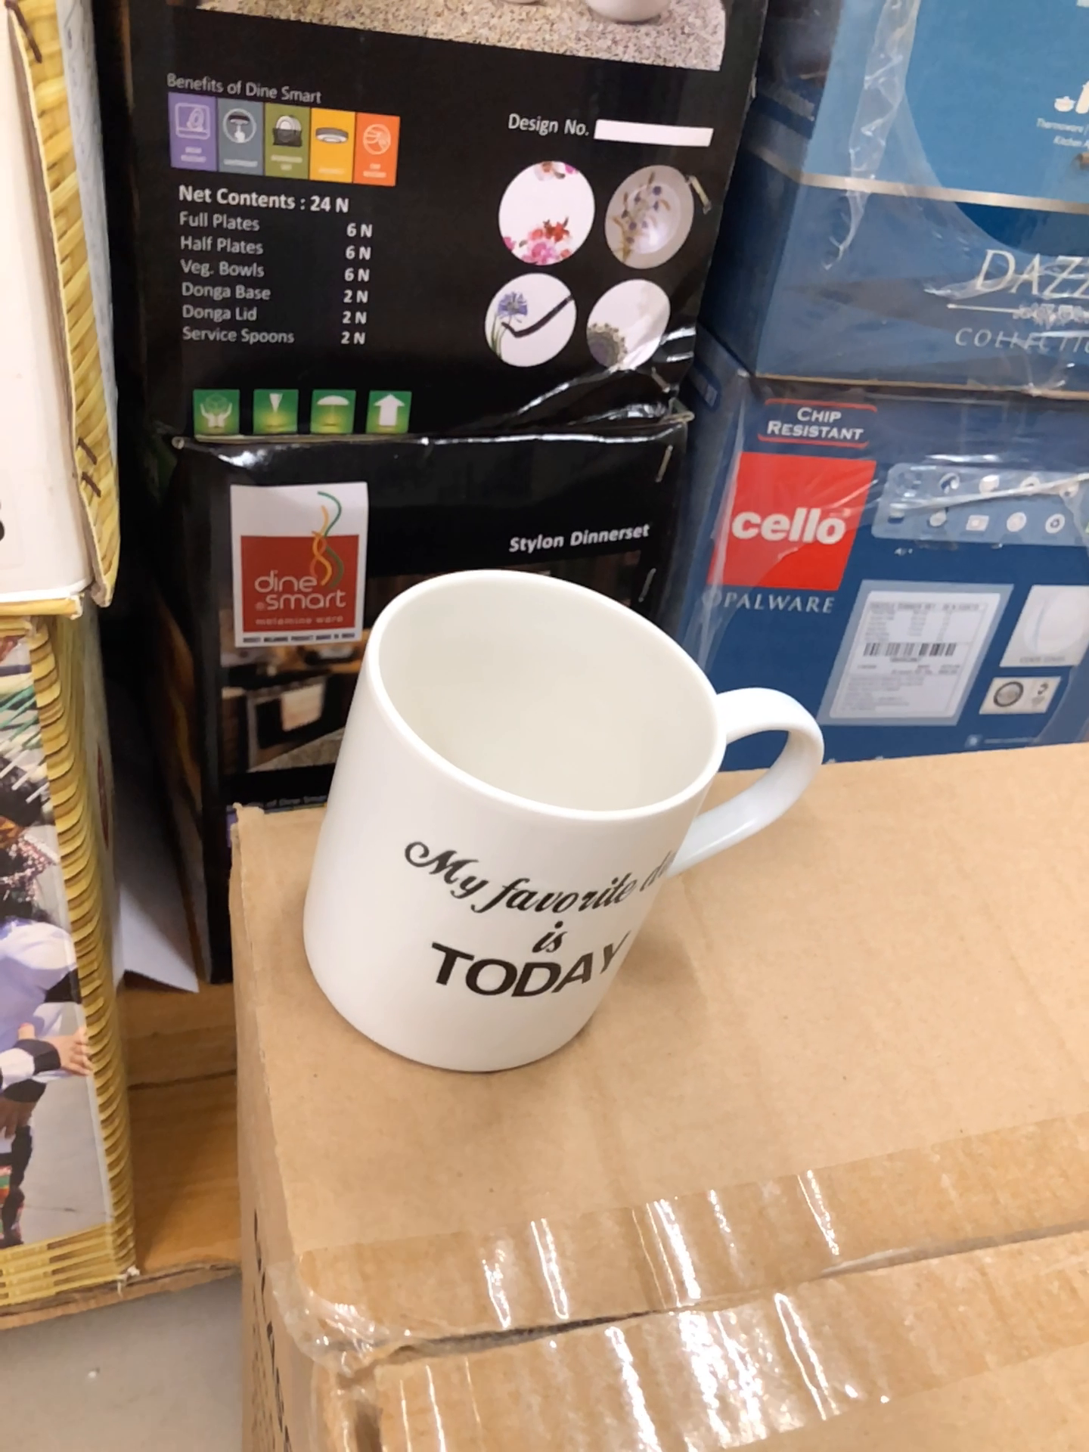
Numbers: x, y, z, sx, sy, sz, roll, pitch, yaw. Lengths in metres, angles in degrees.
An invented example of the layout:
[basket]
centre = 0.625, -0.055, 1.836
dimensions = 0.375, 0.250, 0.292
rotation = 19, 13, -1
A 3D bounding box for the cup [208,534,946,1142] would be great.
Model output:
[cup]
centre = 0.001, 0.020, 0.287
dimensions = 0.130, 0.099, 0.080
rotation = -6, 46, -30
